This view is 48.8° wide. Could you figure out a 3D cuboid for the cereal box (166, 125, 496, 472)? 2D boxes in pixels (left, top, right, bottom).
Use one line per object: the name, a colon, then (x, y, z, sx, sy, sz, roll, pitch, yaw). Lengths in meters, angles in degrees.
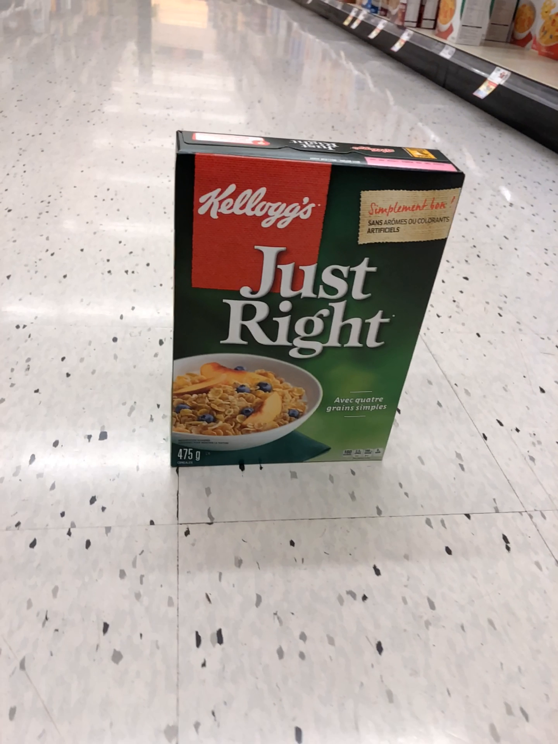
cereal box: (0.020, -0.038, 0.479, 0.210, 0.268, 0.050, 1, 35, -9)
